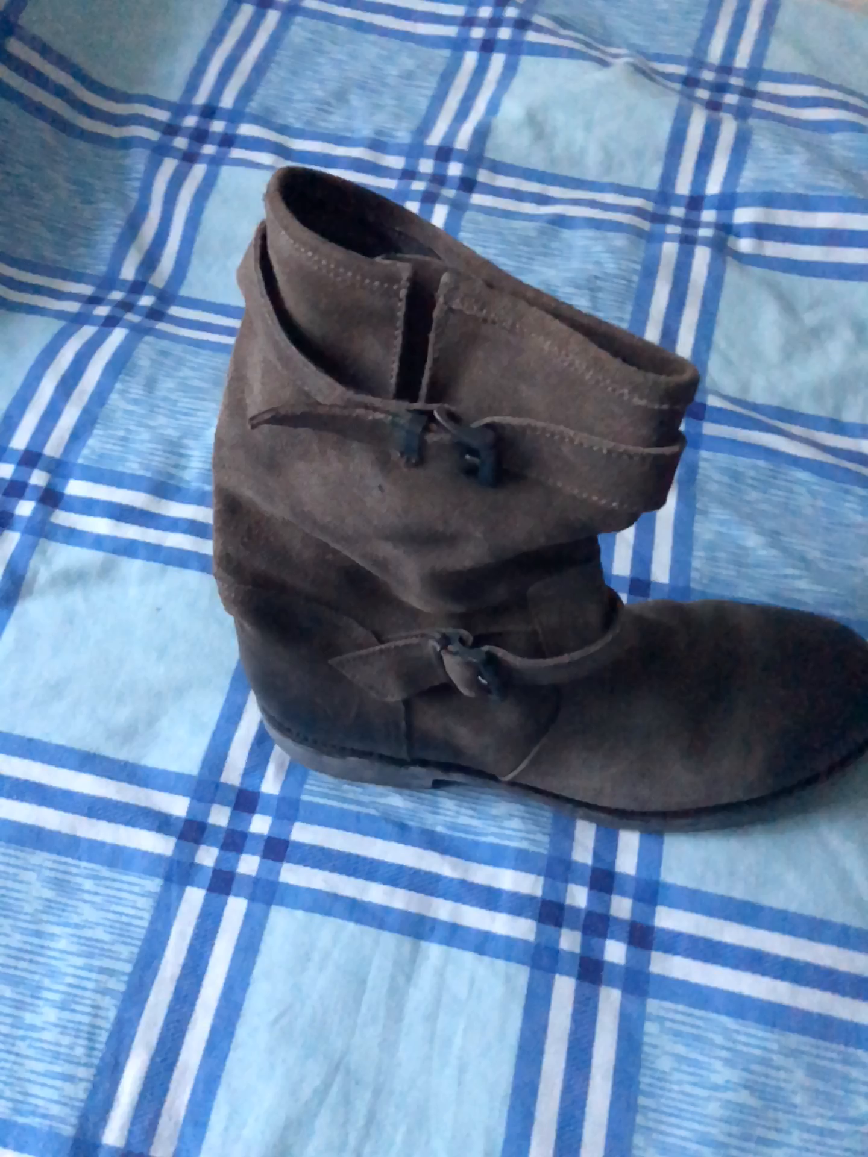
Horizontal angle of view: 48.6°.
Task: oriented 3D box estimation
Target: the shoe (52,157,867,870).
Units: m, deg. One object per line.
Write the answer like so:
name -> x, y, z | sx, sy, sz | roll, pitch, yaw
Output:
shoe -> 0.069, 0.006, 0.393 | 0.320, 0.289, 0.130 | 5, 61, 3
